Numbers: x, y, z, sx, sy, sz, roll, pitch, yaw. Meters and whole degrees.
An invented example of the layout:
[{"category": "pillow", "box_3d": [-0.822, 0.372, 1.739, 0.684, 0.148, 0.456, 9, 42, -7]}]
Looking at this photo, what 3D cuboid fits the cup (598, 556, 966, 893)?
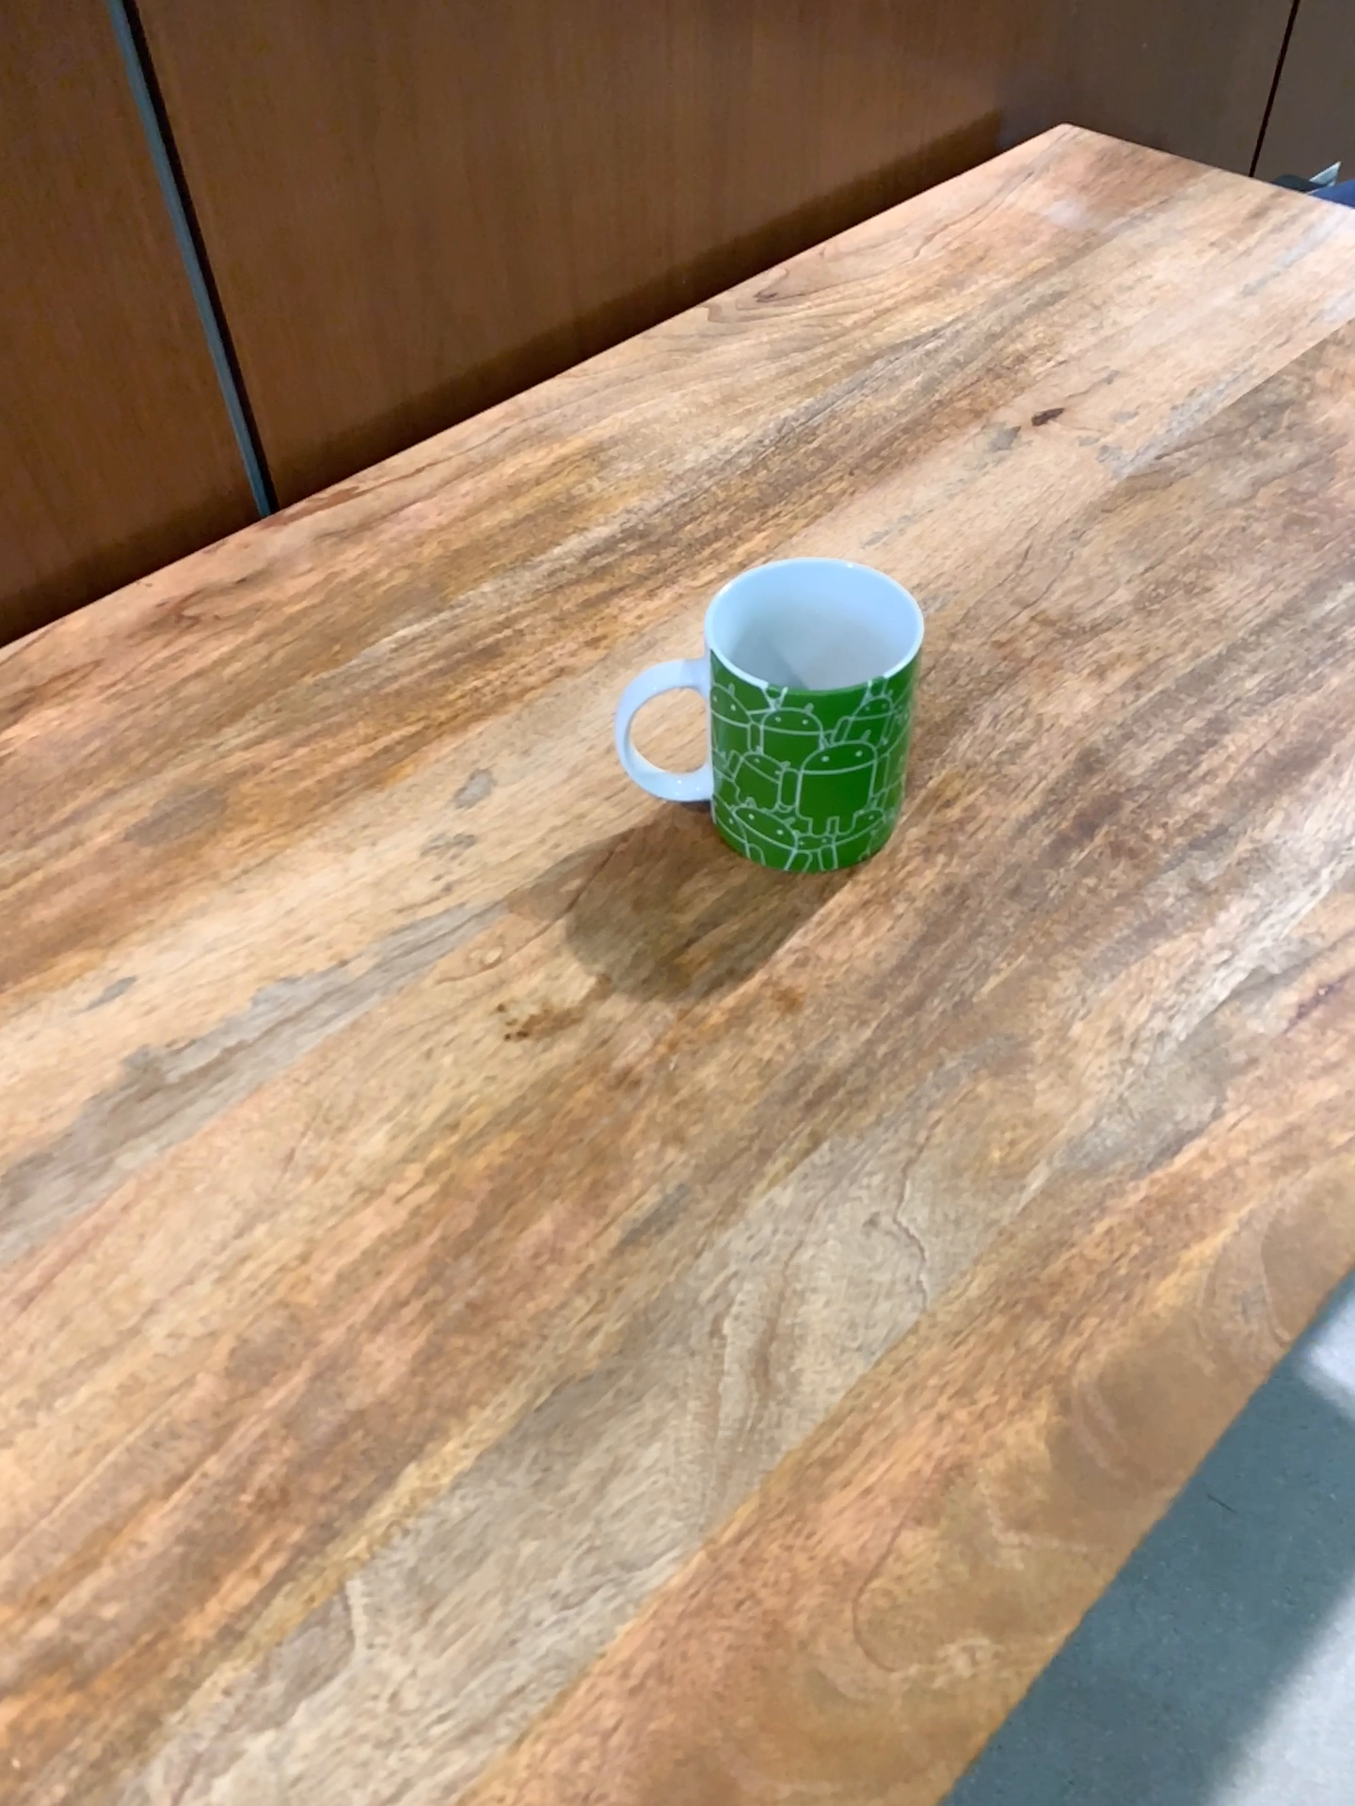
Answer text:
[{"category": "cup", "box_3d": [0.037, -0.072, 0.551, 0.130, 0.080, 0.100, -3, 49, 0]}]
